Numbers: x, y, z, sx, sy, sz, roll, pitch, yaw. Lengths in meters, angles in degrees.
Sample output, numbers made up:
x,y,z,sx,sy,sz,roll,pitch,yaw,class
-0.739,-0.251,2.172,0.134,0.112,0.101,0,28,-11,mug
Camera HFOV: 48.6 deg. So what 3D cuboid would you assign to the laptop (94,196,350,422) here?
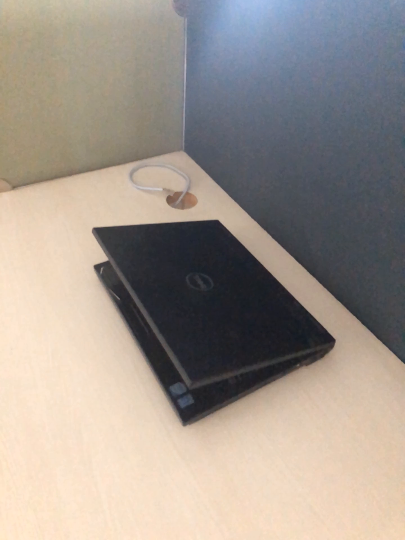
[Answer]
x,y,z,sx,sy,sz,roll,pitch,yaw,class
0.010,0.027,0.647,0.230,0.064,0.303,-21,48,-22,laptop
